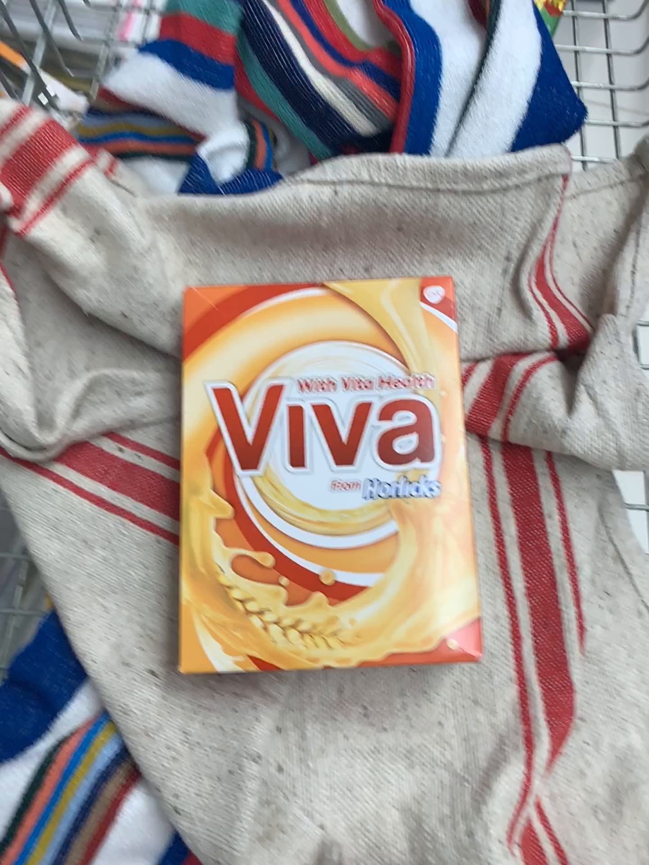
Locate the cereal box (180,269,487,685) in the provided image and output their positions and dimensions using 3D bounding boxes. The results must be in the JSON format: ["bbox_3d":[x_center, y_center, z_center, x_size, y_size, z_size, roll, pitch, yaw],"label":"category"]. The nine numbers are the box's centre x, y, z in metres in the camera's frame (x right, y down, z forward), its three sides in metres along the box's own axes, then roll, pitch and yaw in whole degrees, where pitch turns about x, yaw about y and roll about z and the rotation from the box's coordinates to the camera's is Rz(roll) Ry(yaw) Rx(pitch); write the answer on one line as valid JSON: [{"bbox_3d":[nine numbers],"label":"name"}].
[{"bbox_3d":[0.000,0.022,0.358,0.140,0.070,0.200,-2,78,-2],"label":"cereal box"}]
